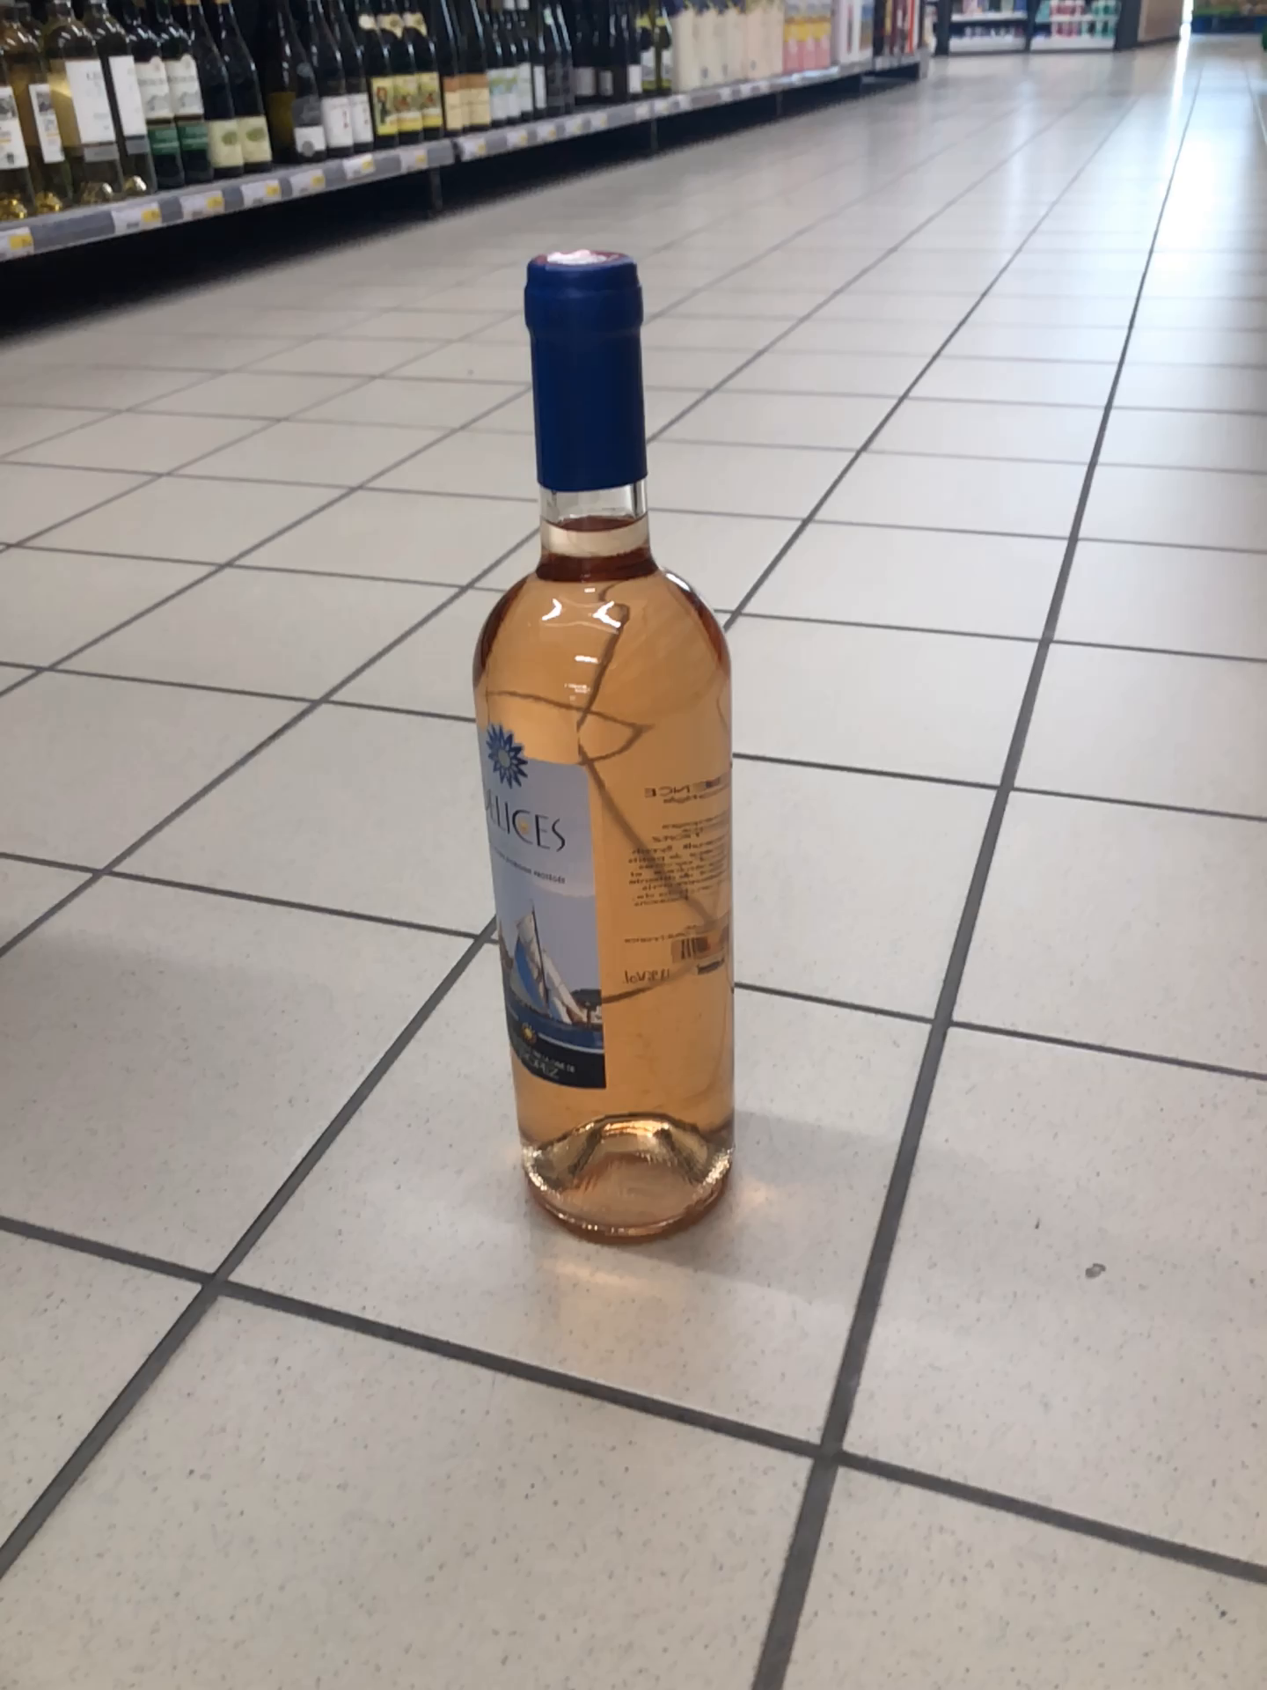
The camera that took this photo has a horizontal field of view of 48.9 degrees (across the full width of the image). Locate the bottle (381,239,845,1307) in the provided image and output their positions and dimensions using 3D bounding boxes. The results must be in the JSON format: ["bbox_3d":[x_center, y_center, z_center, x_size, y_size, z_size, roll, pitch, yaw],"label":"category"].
[{"bbox_3d":[0.000,-0.013,0.405,0.080,0.288,0.080,-2,29,1],"label":"bottle"}]
